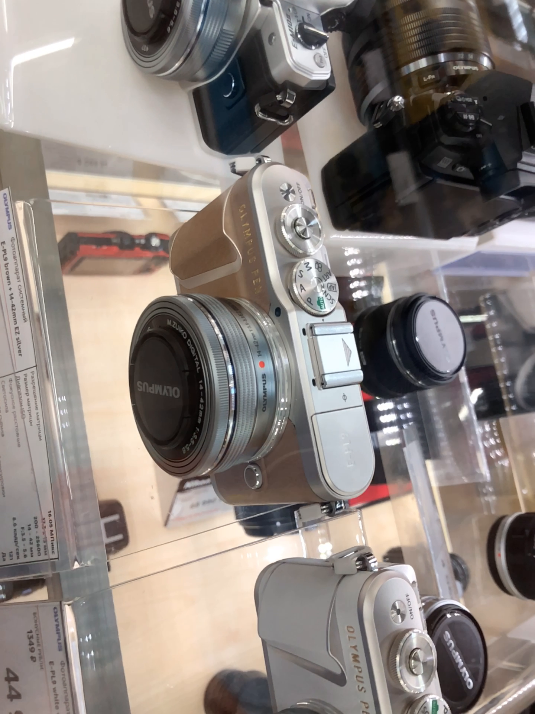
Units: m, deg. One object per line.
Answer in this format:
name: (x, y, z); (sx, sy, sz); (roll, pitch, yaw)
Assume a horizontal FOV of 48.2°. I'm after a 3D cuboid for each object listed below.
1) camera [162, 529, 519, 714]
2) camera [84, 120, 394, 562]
camera: (0.018, 0.121, 0.182); (0.060, 0.060, 0.122); (-5, 80, -37)
camera: (-0.013, -0.003, 0.201); (0.060, 0.060, 0.122); (-5, 80, -37)
